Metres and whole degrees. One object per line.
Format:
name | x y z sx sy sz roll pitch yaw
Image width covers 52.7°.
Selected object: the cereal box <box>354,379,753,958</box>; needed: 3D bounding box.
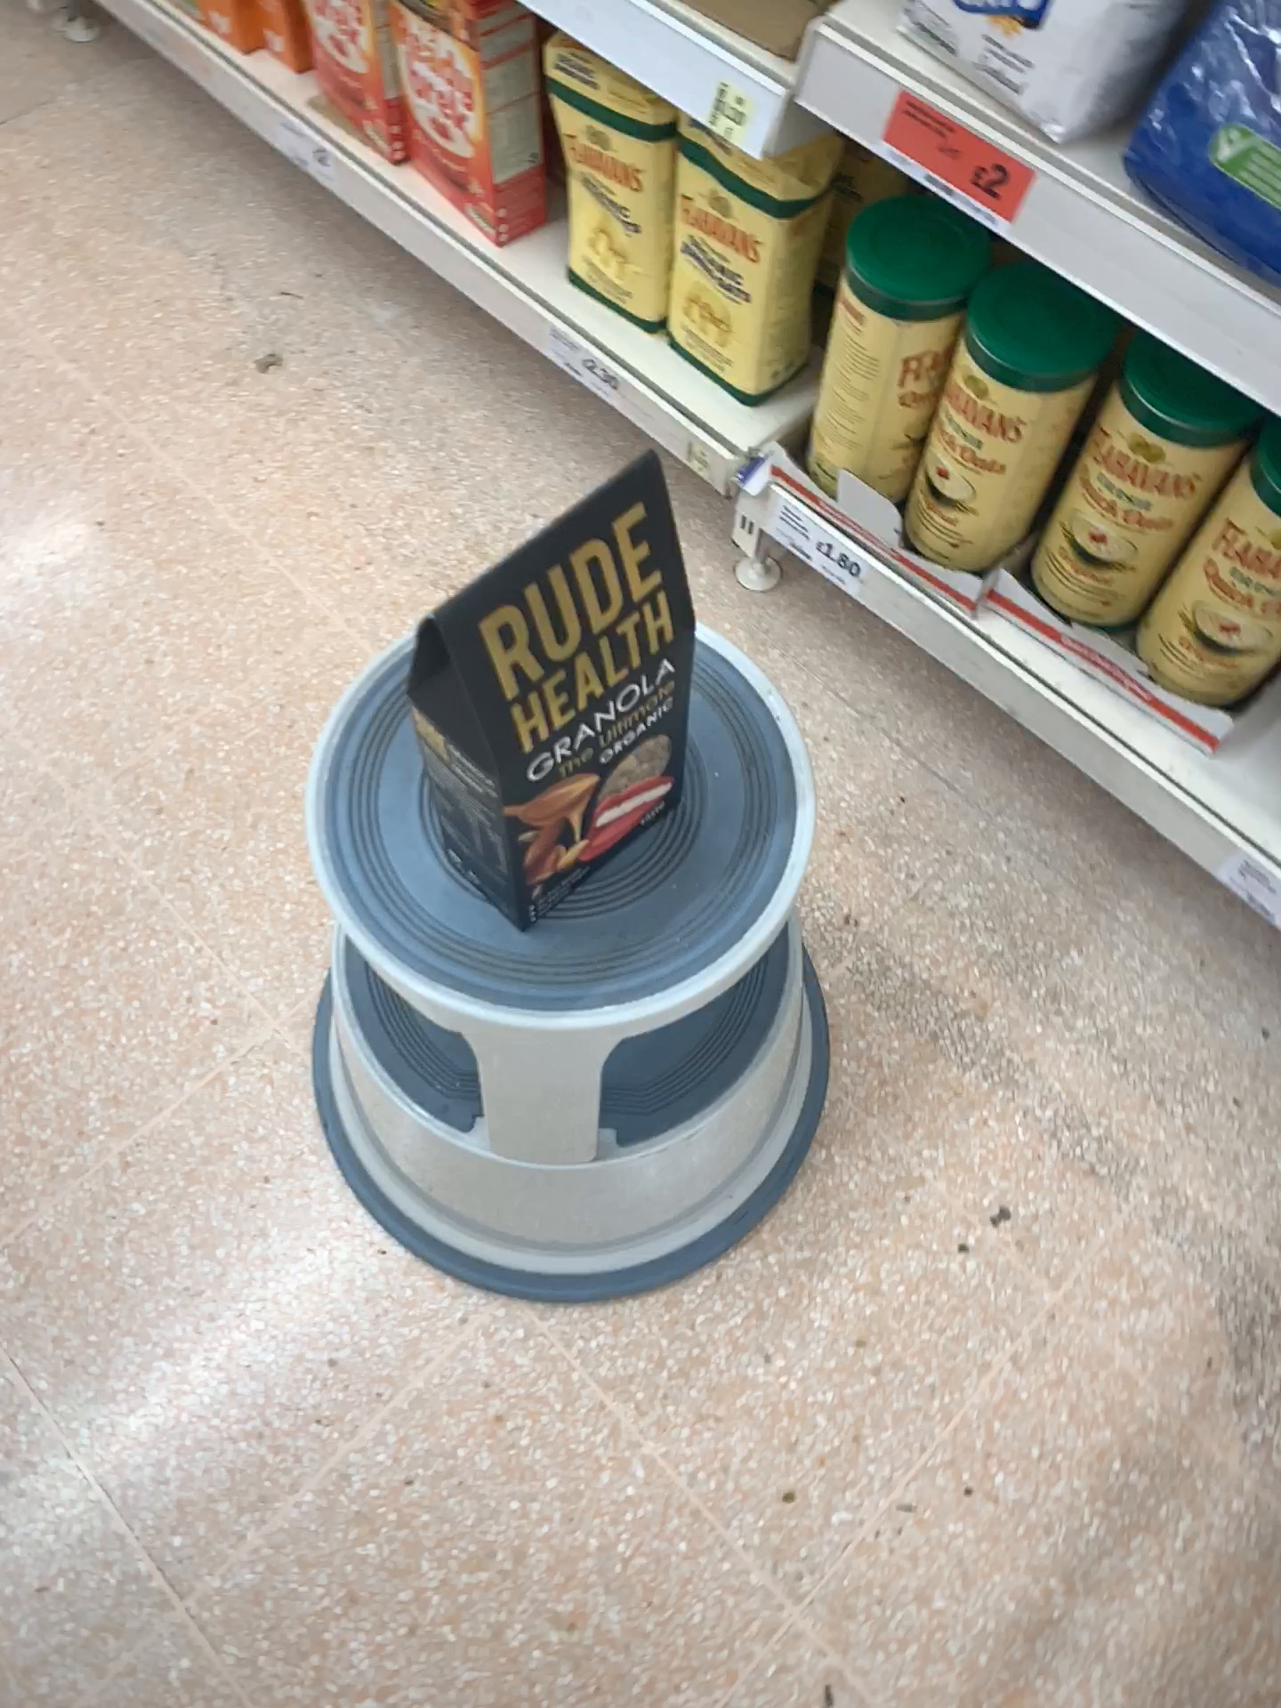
cereal box | -0.036 -0.069 0.604 0.140 0.259 0.070 -40 71 -20
